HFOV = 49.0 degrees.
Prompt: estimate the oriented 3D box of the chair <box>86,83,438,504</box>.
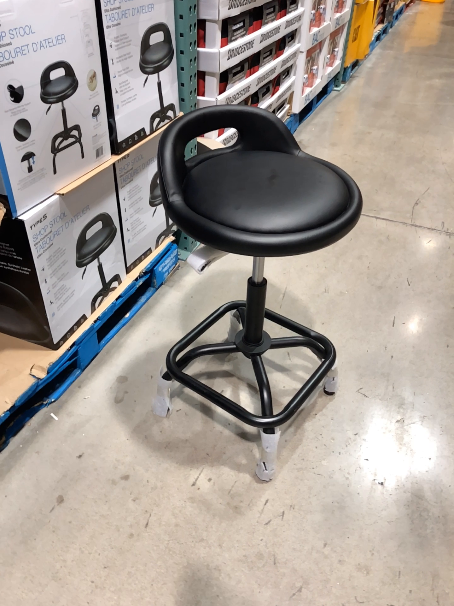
[{"bbox_3d":[0.073,-0.039,1.206,0.511,0.747,0.481,25,44,26],"label":"chair"}]
